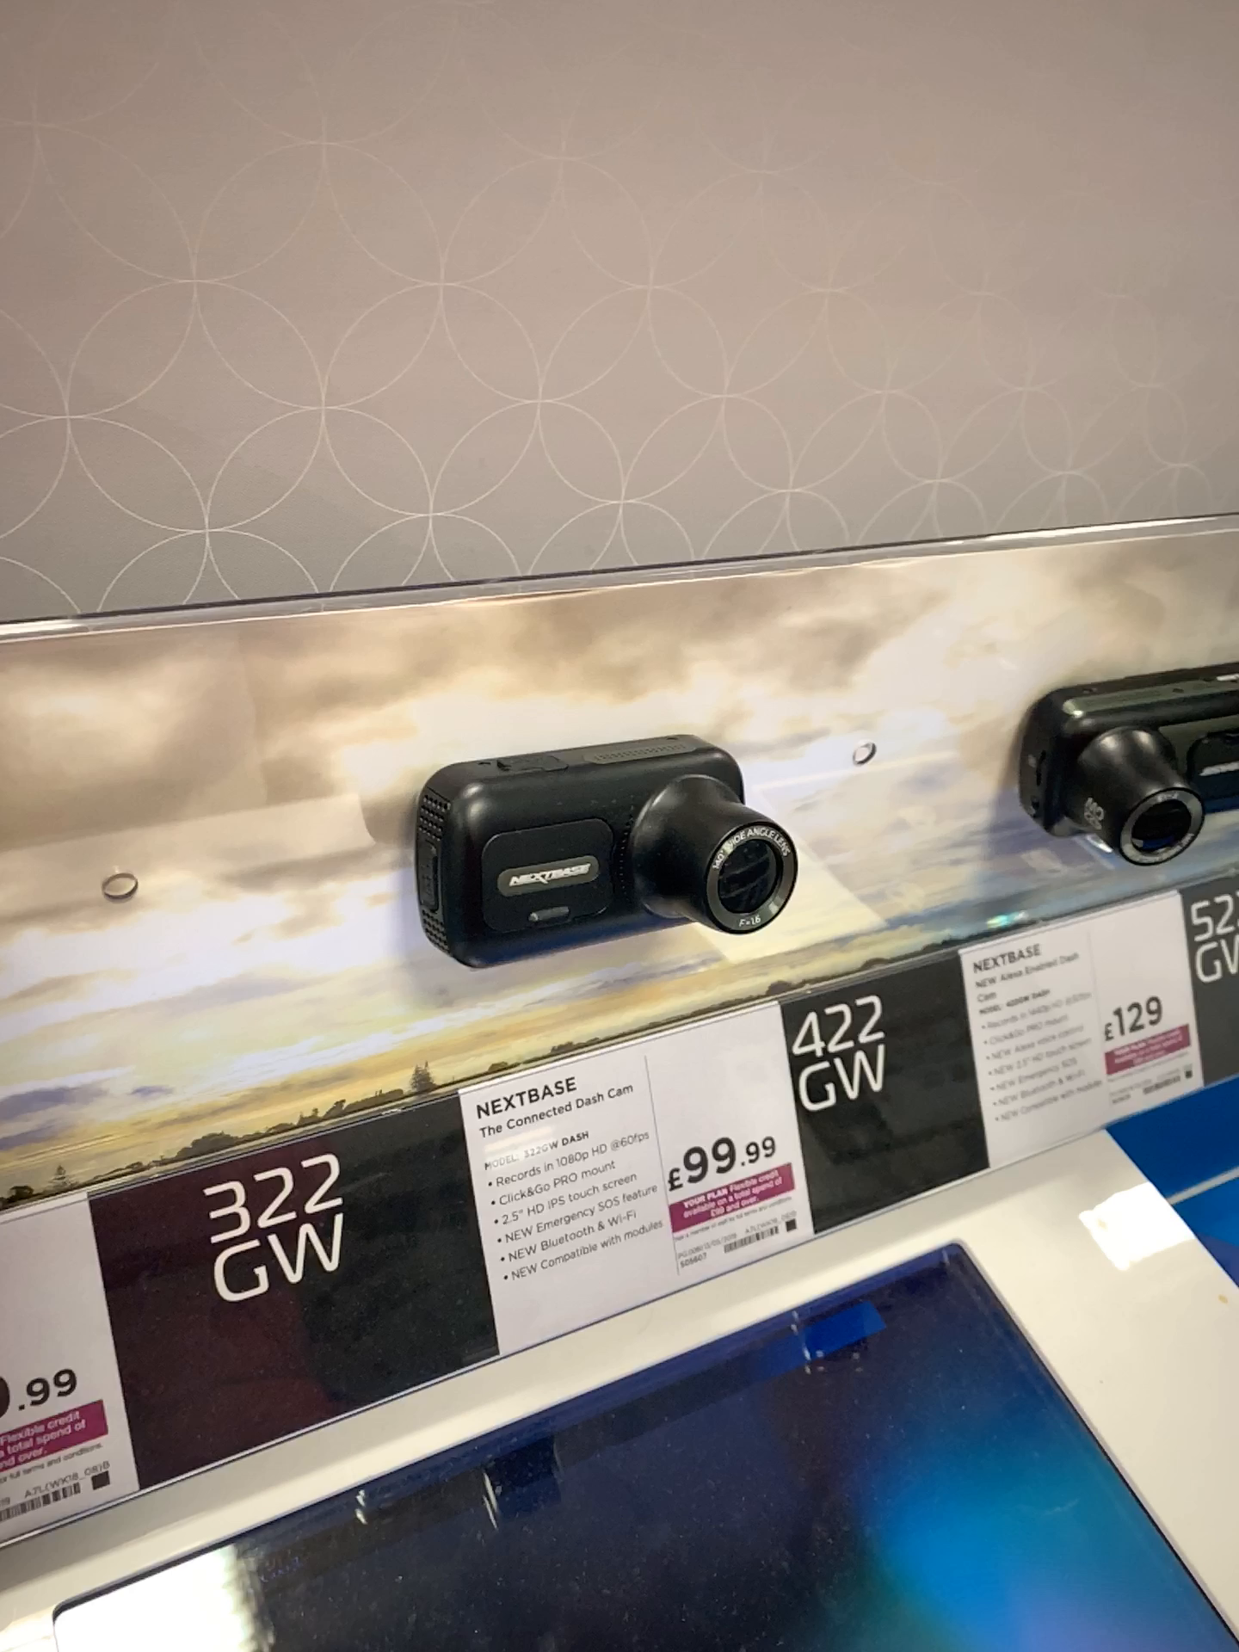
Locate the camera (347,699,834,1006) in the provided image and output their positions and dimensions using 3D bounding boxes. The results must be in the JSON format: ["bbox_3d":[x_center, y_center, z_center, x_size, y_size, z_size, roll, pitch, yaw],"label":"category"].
[{"bbox_3d":[-0.009,0.001,0.297,0.090,0.040,0.070,-9,18,-24],"label":"camera"}]
